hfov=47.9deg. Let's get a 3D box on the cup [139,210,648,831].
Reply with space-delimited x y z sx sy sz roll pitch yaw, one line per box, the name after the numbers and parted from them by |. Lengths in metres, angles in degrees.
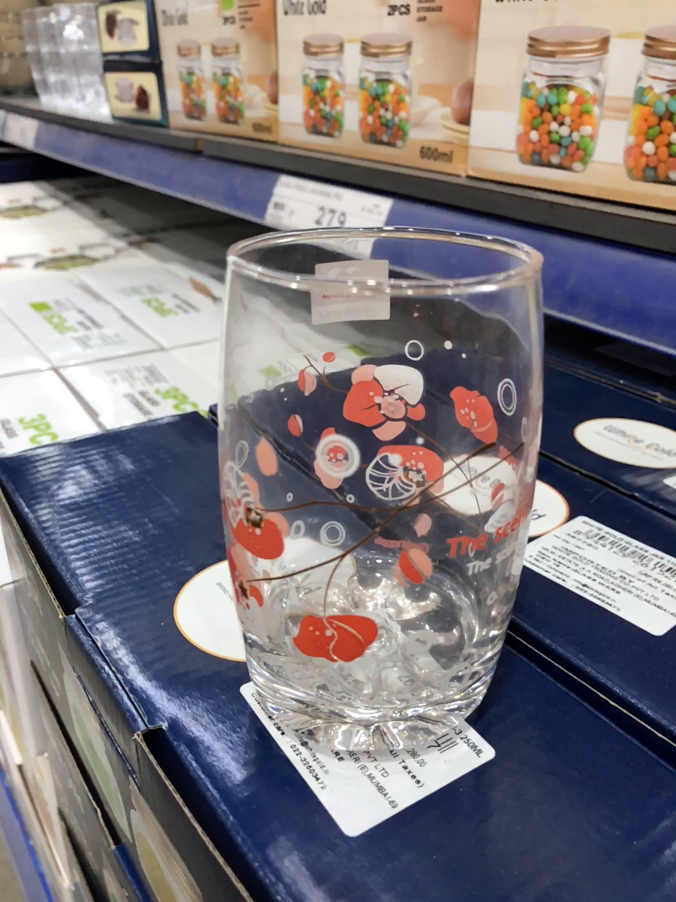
0.011 0.007 0.169 0.070 0.100 0.070 1 27 0 | cup
